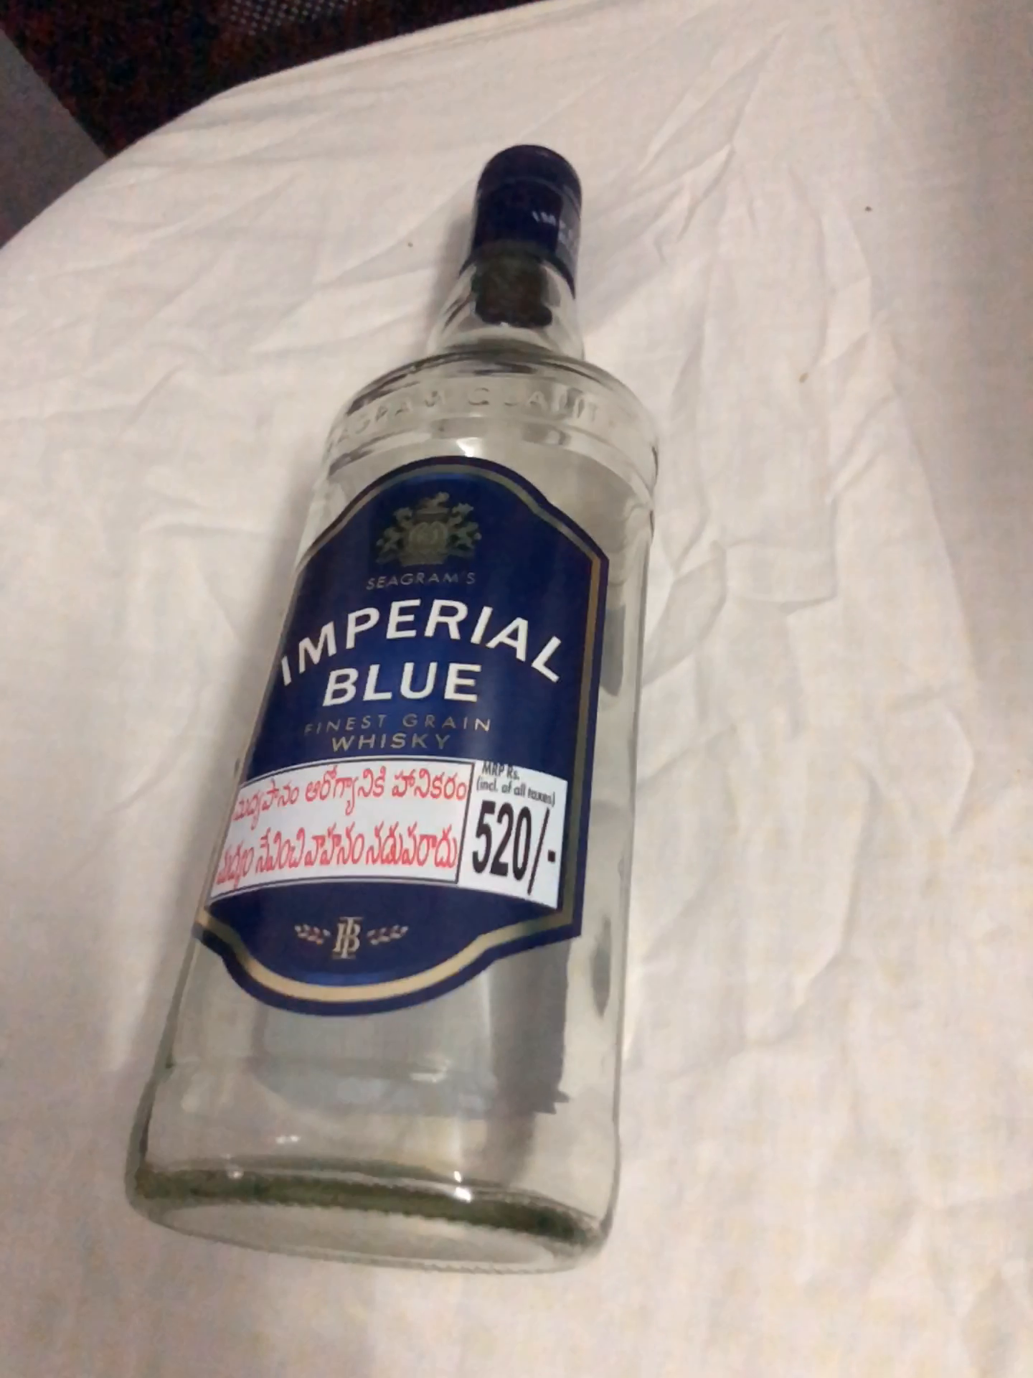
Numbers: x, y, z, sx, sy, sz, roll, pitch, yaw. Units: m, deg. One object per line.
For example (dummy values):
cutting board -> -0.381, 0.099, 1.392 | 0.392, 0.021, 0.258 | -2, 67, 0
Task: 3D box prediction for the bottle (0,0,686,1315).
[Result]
bottle -> -0.016, -0.032, 0.233 | 0.090, 0.080, 0.271 | -3, 63, 15
